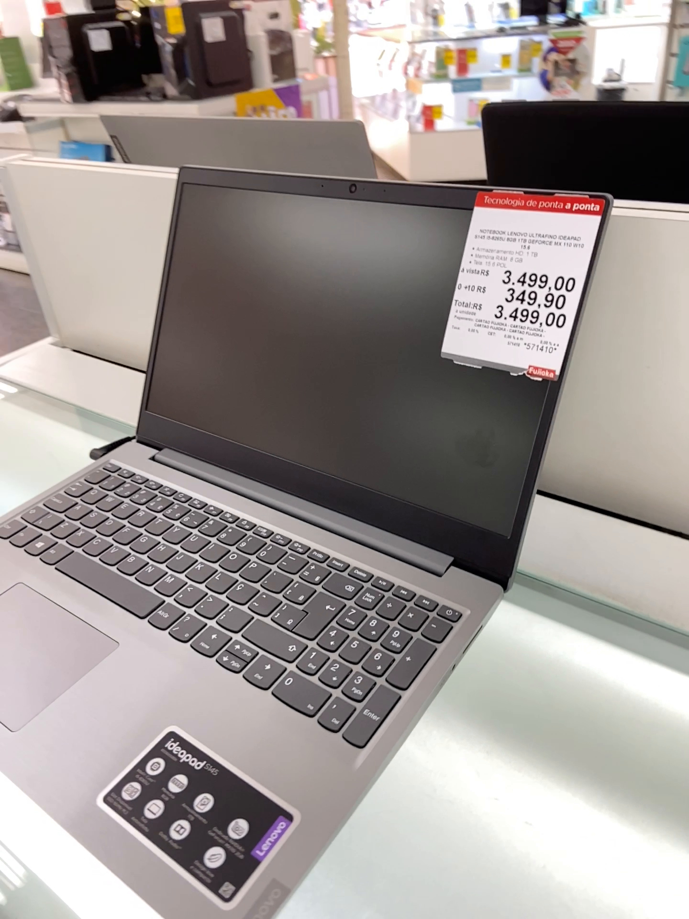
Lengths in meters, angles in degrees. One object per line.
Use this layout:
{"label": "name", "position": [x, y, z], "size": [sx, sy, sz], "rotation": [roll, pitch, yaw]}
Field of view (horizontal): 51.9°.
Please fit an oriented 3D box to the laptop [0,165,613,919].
{"label": "laptop", "position": [-0.089, -0.023, 0.432], "size": [0.360, 0.201, 0.367], "rotation": [18, 40, 32]}
